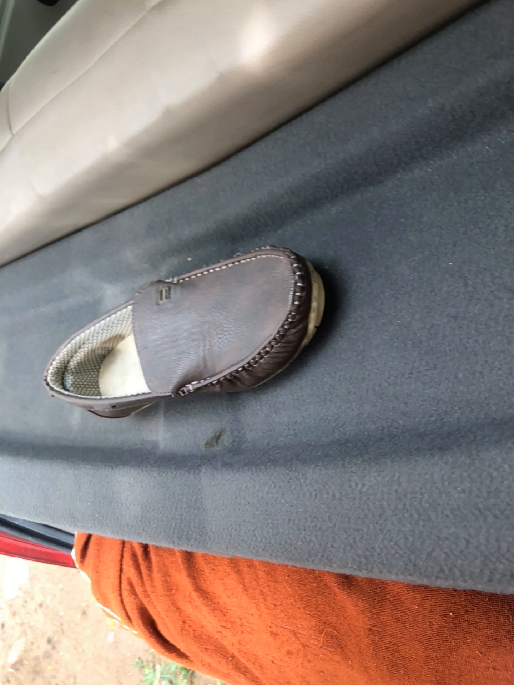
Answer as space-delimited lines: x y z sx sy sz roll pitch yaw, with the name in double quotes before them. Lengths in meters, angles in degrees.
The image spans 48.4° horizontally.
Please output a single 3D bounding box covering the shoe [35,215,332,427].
"shoe" -0.068 0.001 0.406 0.261 0.050 0.080 -17 65 41
